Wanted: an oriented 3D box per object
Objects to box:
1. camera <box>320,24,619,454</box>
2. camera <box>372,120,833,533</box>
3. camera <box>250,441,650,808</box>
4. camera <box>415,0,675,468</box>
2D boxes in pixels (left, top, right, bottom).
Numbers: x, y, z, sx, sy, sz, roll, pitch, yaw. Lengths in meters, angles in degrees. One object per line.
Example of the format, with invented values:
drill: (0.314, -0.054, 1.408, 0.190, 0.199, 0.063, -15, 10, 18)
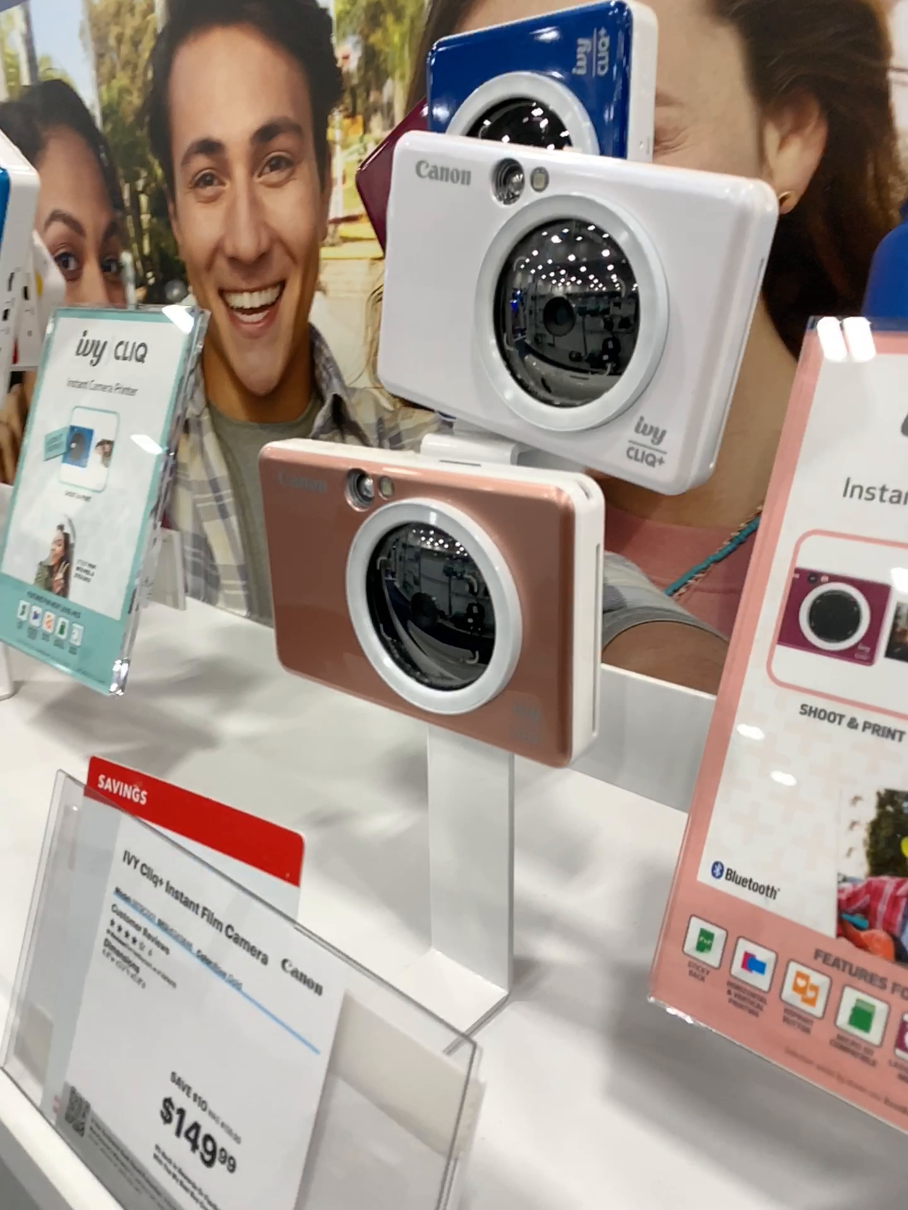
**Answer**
camera: (0.001, -0.129, 0.344, 0.030, 0.120, 0.080, -16, -6, -39)
camera: (0.034, -0.086, 0.275, 0.120, 0.090, 0.030, 26, 30, 32)
camera: (-0.006, -0.001, 0.275, 0.120, 0.080, 0.030, 14, 23, 36)
camera: (0.026, -0.116, 0.306, 0.030, 0.129, 0.080, -16, 23, -39)
